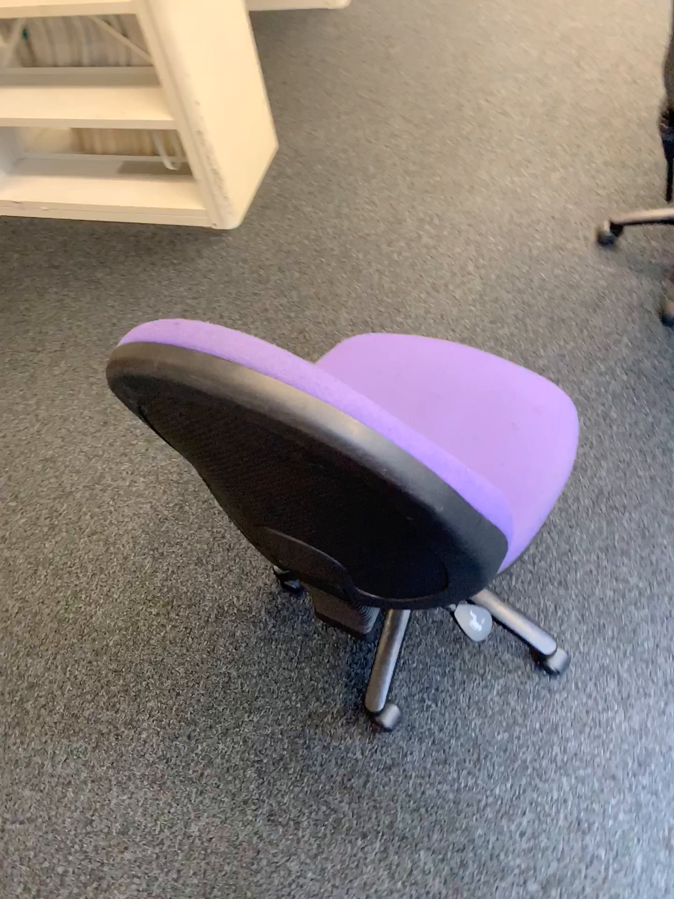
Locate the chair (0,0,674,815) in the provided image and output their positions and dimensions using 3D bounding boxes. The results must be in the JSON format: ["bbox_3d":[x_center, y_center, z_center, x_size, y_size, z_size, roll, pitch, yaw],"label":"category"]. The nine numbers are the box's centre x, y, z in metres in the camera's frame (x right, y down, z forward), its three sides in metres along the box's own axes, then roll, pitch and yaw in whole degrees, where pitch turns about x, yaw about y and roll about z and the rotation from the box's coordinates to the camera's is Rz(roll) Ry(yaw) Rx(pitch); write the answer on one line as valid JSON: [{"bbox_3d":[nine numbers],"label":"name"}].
[{"bbox_3d":[0.119,0.007,1.039,0.670,0.985,0.637,19,62,21],"label":"chair"}]
